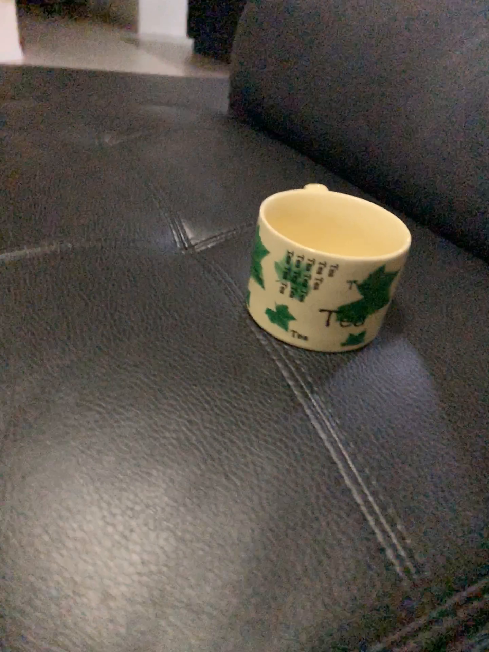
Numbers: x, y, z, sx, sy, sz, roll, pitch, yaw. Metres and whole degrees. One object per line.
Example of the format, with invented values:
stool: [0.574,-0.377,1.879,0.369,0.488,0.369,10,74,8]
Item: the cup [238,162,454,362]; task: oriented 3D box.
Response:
cup: [0.045,-0.043,0.290,0.090,0.059,0.119,5,32,-5]
